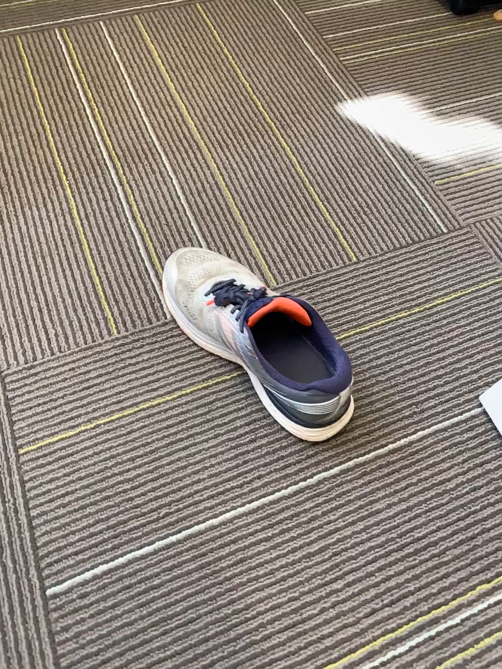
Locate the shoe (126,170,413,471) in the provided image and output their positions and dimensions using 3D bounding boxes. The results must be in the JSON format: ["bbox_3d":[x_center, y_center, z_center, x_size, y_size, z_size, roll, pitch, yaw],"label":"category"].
[{"bbox_3d":[0.006,-0.022,0.545,0.110,0.110,0.301,-35,68,-20],"label":"shoe"}]
